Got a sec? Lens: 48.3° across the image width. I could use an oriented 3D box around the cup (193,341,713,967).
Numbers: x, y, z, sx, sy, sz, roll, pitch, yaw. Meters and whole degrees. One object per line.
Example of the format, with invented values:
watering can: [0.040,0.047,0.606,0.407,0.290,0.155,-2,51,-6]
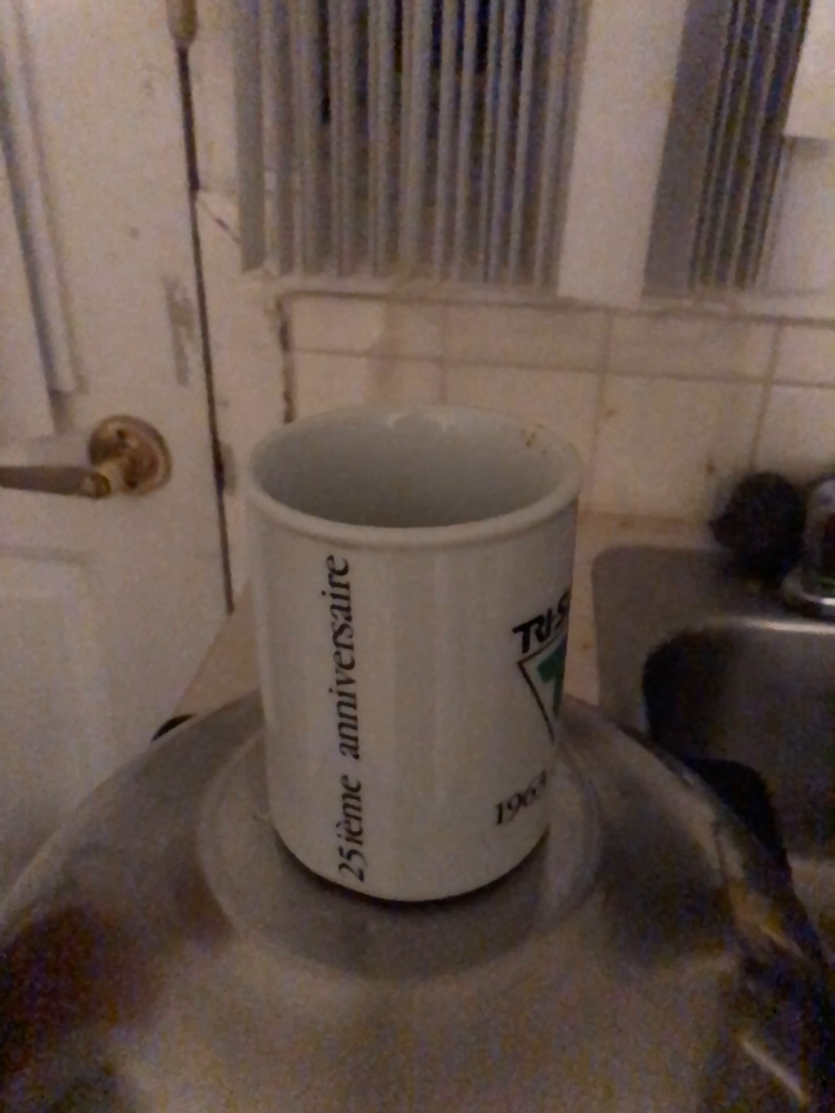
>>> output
cup: [0.014,0.013,0.240,0.070,0.099,0.117,19,34,28]
